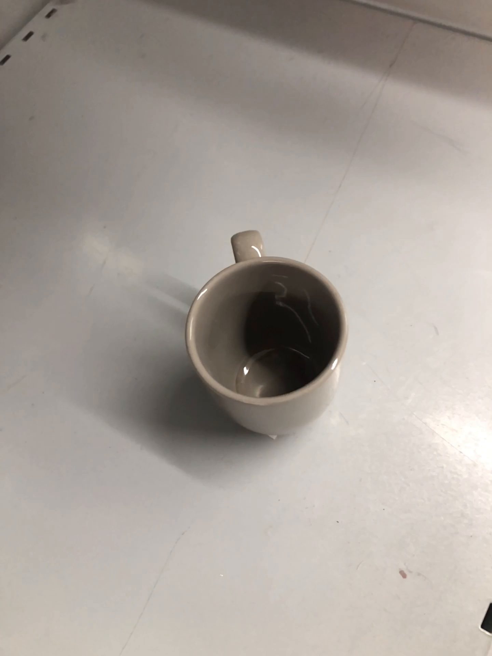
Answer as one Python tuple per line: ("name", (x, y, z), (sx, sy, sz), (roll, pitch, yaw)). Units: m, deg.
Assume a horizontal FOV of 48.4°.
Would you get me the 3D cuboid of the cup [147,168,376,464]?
("cup", (0.005, -0.002, 0.223), (0.064, 0.062, 0.092), (-13, 65, 1))
